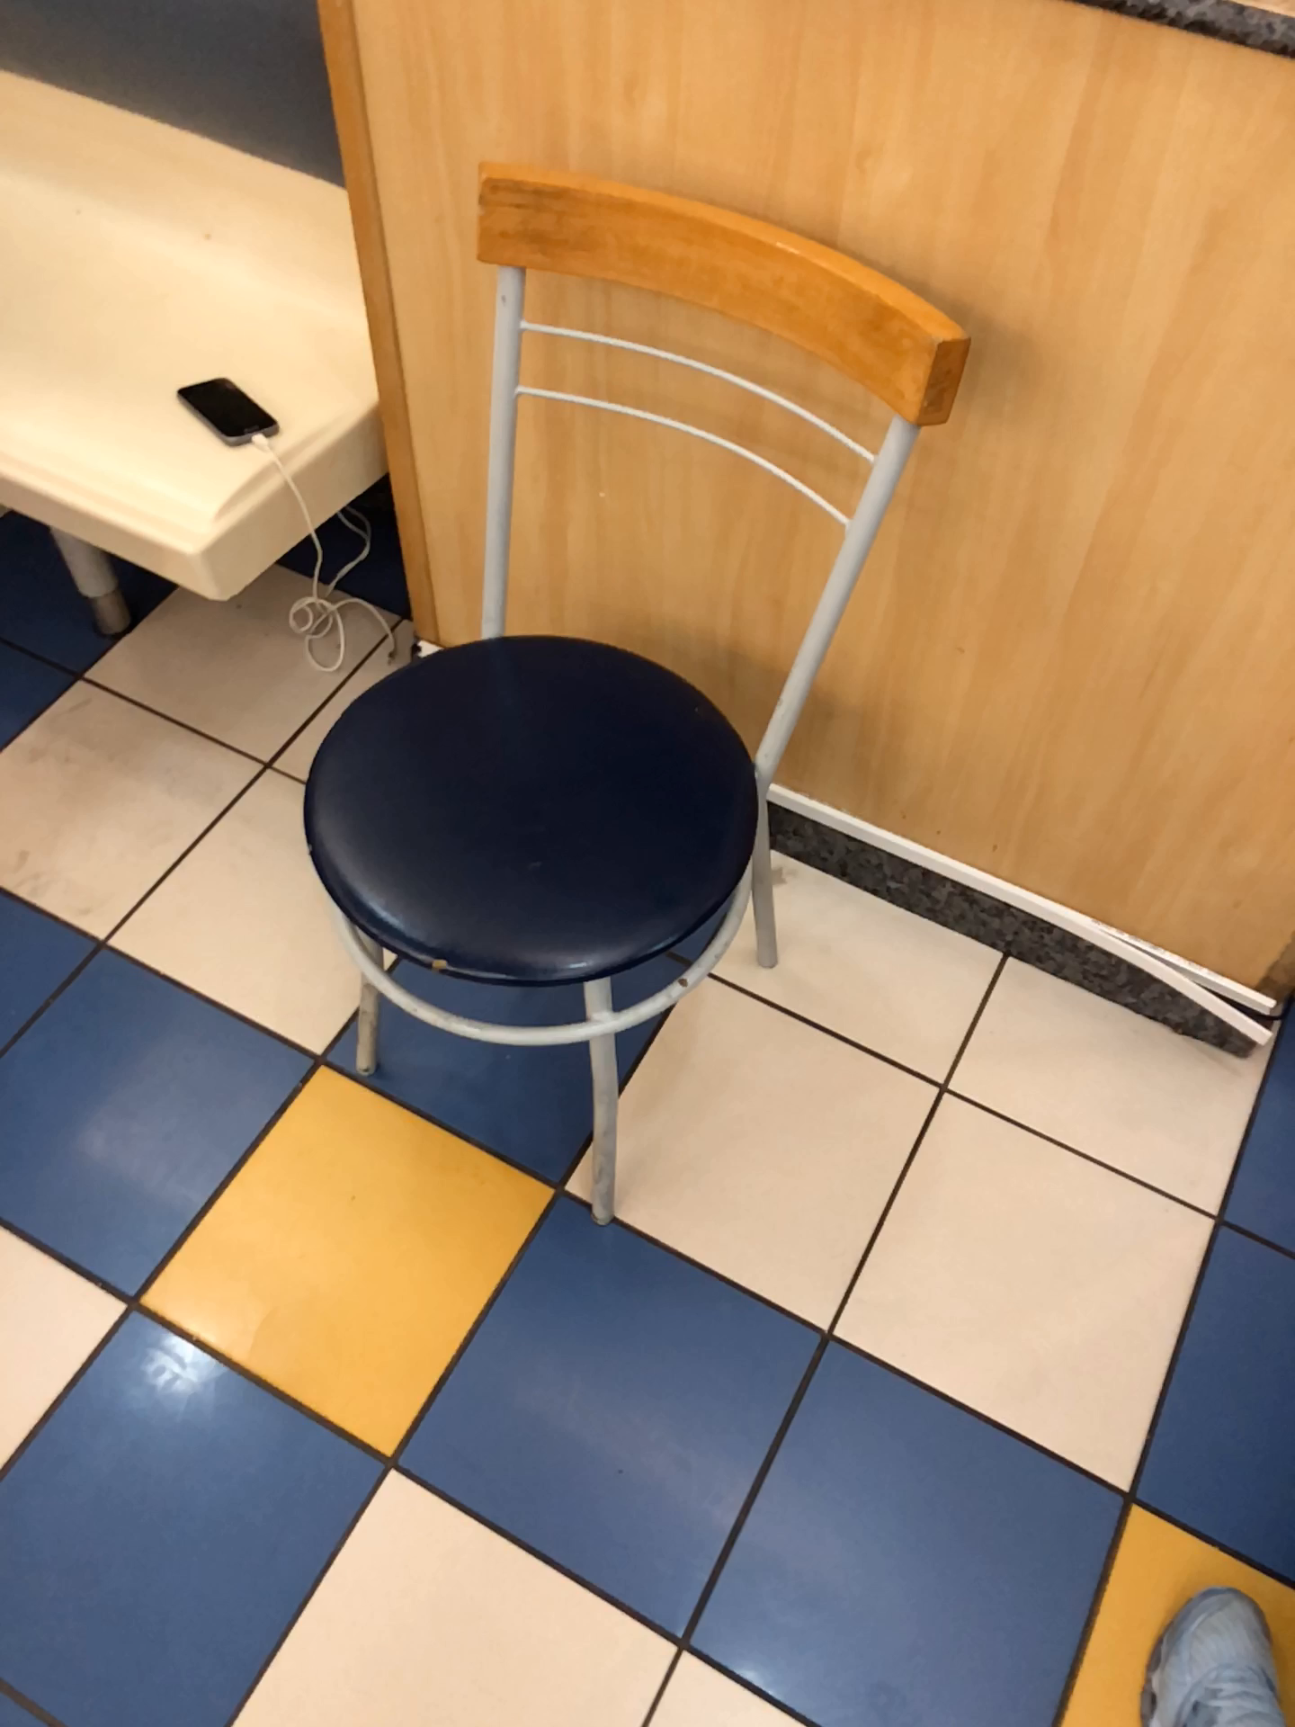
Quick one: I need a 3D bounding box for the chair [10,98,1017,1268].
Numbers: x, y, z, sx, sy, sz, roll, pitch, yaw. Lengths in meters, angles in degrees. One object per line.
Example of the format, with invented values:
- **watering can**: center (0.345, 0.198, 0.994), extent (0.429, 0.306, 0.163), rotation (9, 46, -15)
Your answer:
- **chair**: center (-0.067, -0.114, 1.226), extent (0.440, 0.746, 0.522), rotation (26, 58, 17)
